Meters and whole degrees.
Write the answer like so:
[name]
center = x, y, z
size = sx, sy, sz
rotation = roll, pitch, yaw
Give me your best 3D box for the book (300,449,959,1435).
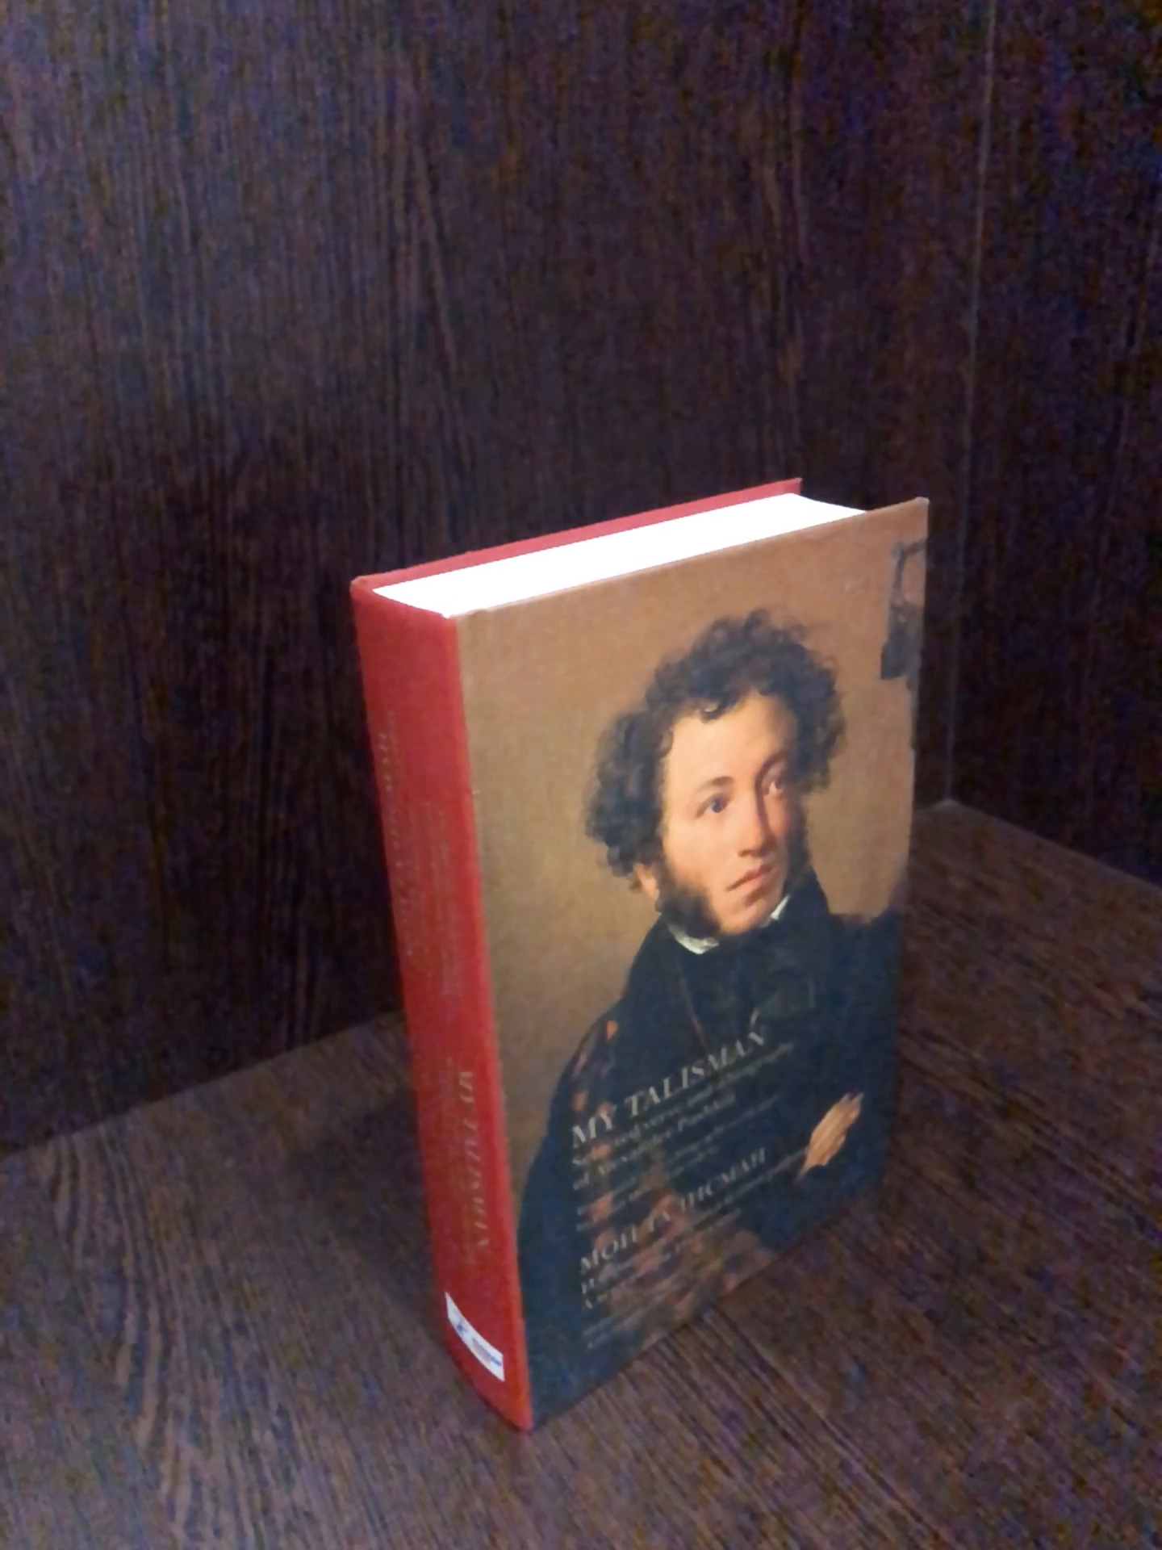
[book]
center = 0.018, 0.035, 0.318
size = 0.137, 0.201, 0.054
rotation = -19, 29, -33
